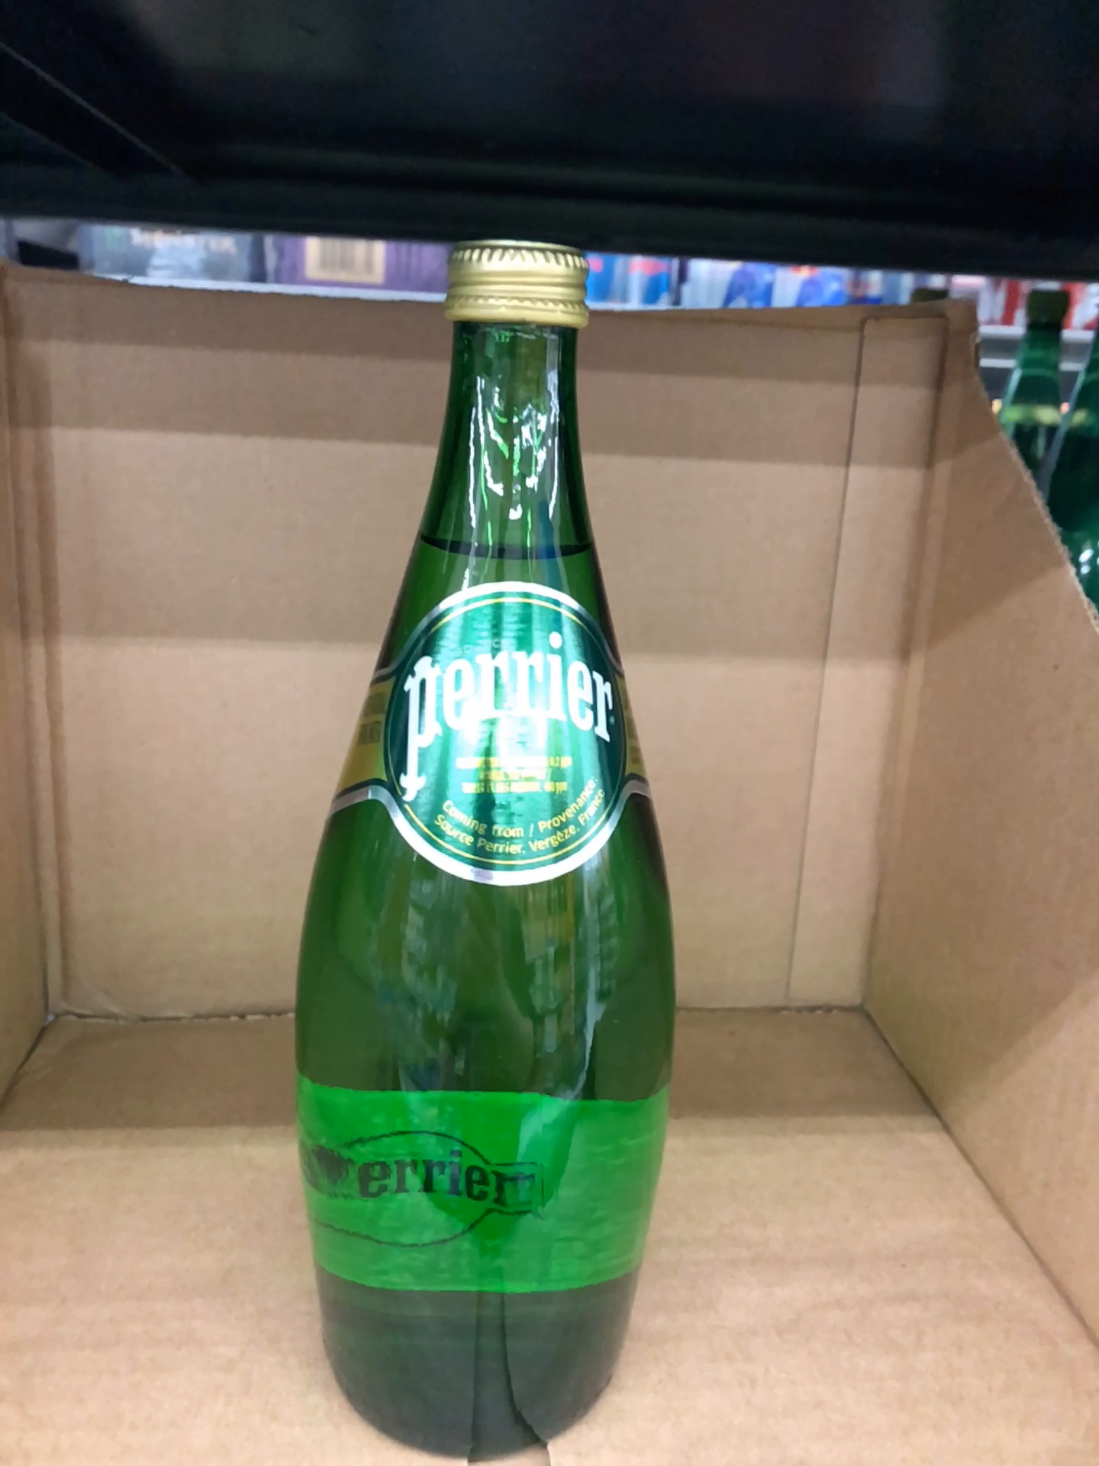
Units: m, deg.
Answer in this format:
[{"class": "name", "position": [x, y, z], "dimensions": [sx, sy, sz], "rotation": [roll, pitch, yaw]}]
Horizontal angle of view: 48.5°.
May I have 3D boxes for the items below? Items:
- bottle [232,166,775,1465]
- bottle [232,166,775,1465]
[{"class": "bottle", "position": [-0.017, 0.027, 0.277], "dimensions": [0.090, 0.269, 0.080], "rotation": [1, 16, -6]}, {"class": "bottle", "position": [-0.017, 0.027, 0.277], "dimensions": [0.090, 0.269, 0.080], "rotation": [1, 16, -6]}]
